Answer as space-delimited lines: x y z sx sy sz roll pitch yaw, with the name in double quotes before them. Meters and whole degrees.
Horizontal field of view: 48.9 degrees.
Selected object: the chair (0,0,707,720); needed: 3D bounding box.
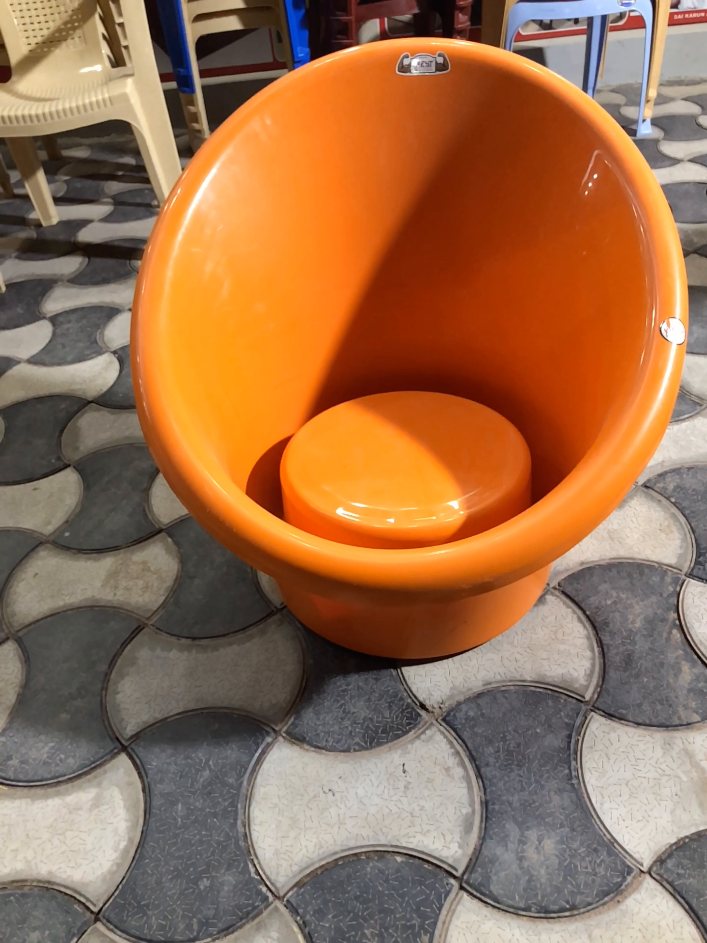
"chair" 0.019 -0.207 1.007 0.660 0.666 0.725 0 37 8
